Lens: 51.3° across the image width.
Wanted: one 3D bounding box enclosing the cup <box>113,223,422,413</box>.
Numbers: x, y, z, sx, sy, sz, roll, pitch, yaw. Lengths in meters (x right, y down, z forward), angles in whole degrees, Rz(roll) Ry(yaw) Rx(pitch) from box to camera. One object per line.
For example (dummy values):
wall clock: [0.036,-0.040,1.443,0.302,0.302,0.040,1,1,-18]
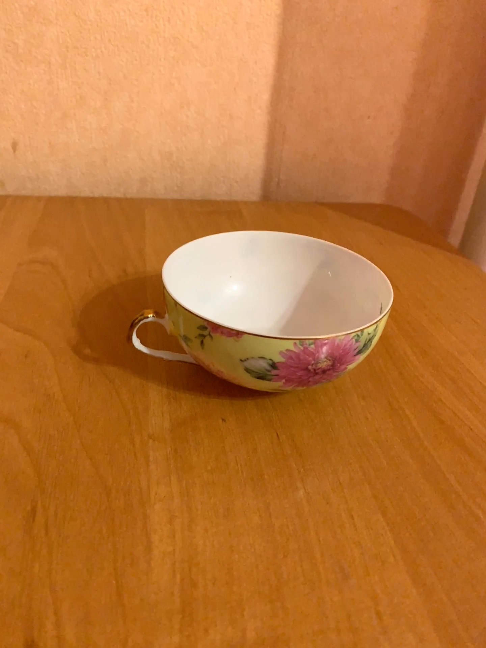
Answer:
cup: [0.004,-0.008,0.224,0.113,0.045,0.079,-2,32,-11]
